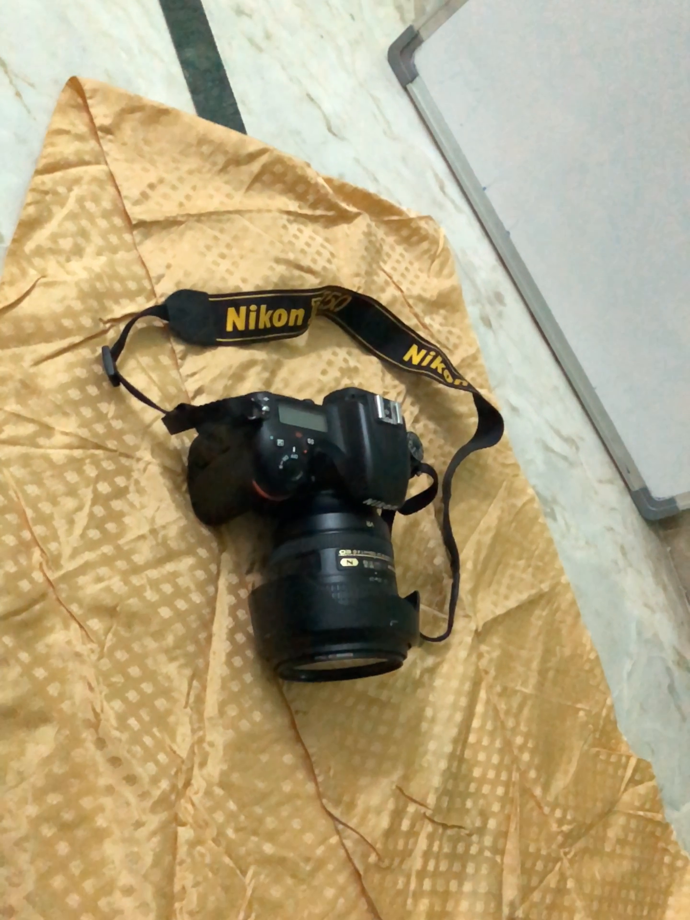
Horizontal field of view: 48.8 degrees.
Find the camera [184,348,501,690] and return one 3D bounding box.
[{"bbox_3d":[-0.005,0.047,0.470,0.149,0.109,0.170,12,65,-38],"label":"camera"}]
